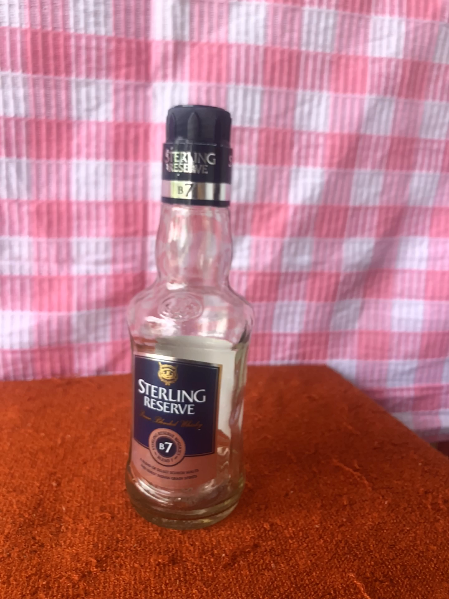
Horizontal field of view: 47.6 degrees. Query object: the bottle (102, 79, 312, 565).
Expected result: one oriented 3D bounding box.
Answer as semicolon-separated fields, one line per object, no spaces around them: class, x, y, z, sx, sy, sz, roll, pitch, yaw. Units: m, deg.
bottle;-0.008;0.009;0.202;0.060;0.169;0.050;8;15;12
